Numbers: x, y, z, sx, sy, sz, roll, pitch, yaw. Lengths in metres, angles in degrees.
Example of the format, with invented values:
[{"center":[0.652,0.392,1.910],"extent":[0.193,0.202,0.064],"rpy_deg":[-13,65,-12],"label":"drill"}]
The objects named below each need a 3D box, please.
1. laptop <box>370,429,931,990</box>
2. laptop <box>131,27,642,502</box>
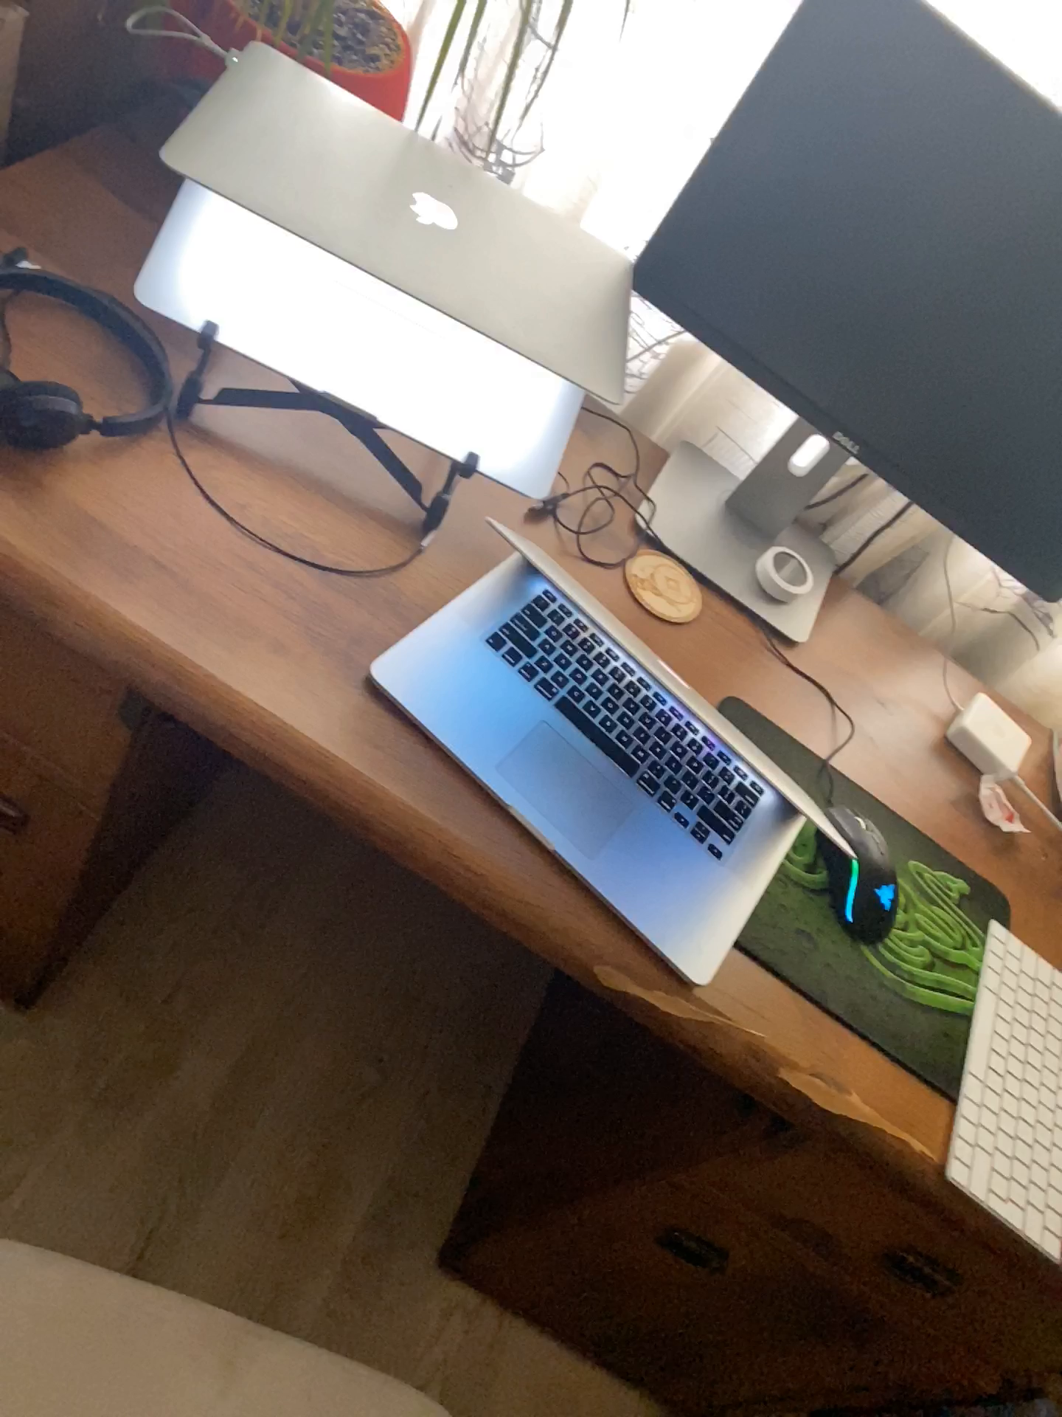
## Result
[{"center":[0.099,-0.008,0.852],"extent":[0.355,0.152,0.236],"rpy_deg":[44,47,3],"label":"laptop"},{"center":[-0.101,-0.358,0.881],"extent":[0.355,0.022,0.243],"rpy_deg":[23,73,-16],"label":"laptop"}]
